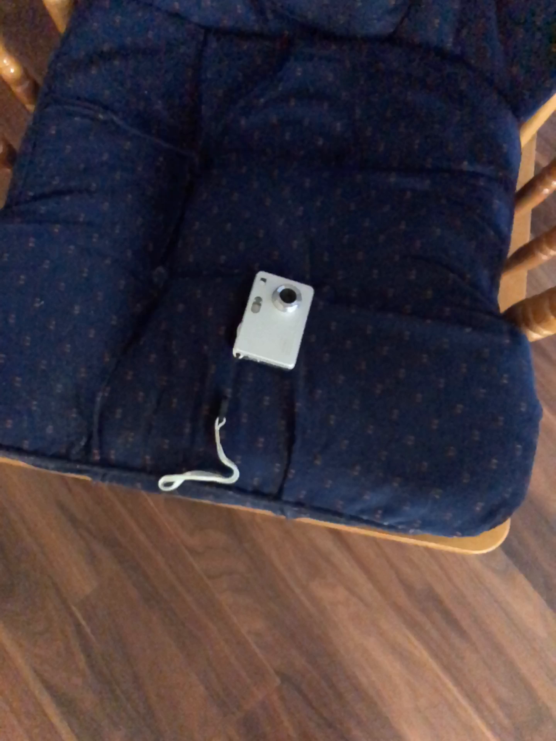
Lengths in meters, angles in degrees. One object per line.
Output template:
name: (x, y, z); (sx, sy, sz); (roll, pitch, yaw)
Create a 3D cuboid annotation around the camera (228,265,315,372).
camera: (-0.005, -0.047, 0.557); (0.058, 0.018, 0.085); (16, 68, -2)
